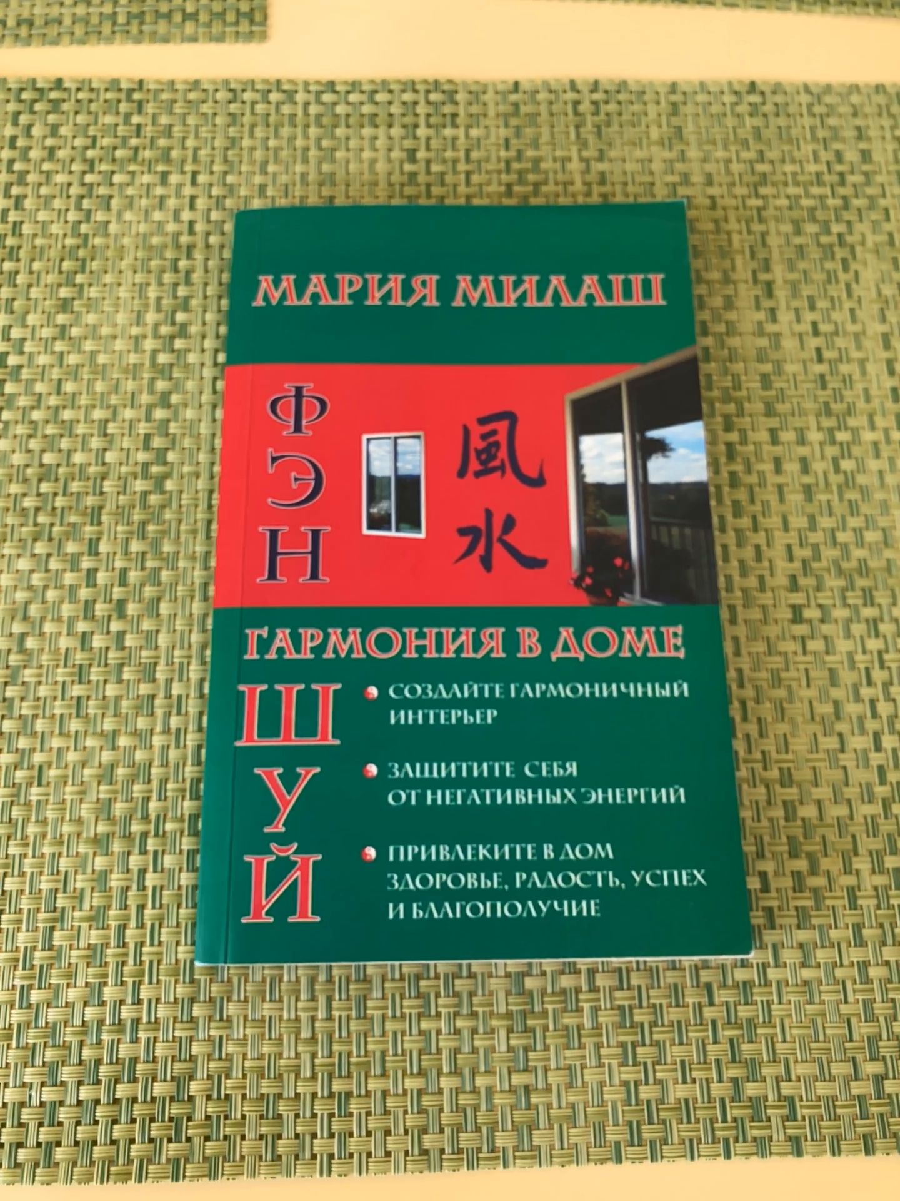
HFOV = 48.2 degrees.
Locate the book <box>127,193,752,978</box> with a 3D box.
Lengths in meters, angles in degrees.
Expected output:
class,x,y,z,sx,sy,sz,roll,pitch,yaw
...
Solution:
class,x,y,z,sx,sy,sz,roll,pitch,yaw
book,-0.004,-0.012,0.258,0.137,0.020,0.200,-1,74,0
